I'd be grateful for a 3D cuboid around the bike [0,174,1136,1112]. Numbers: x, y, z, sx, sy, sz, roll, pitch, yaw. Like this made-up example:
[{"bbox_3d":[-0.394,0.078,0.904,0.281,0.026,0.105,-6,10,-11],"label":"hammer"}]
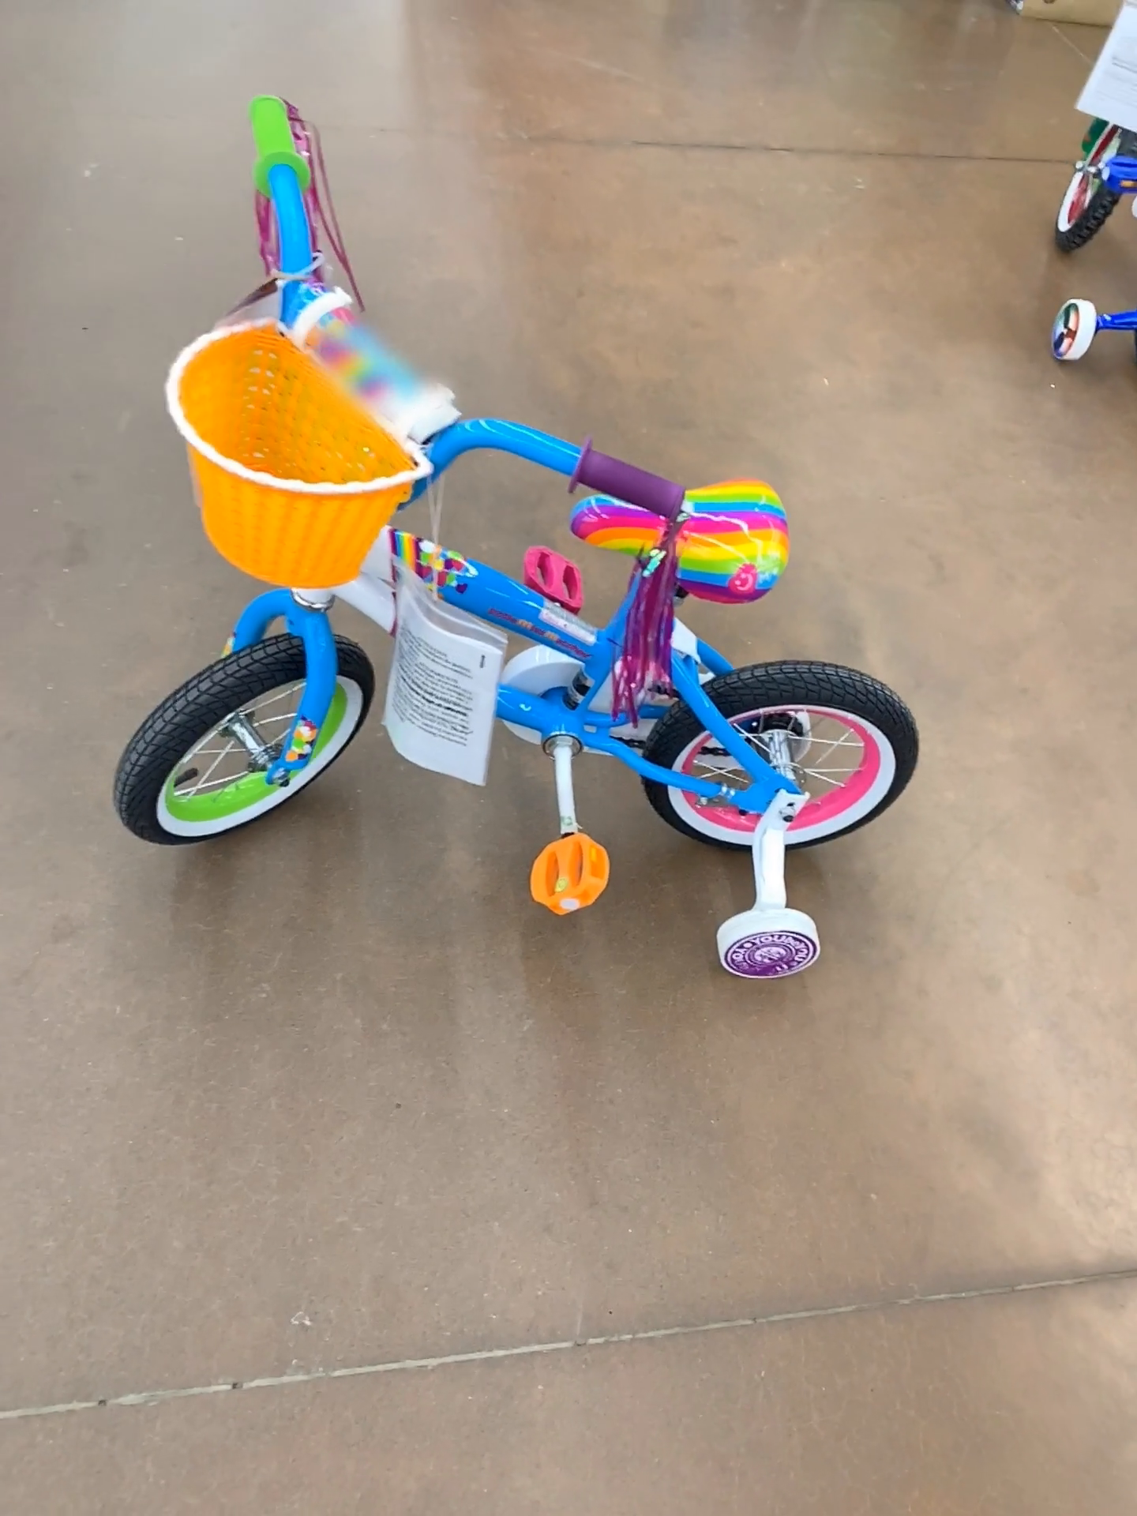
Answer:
[{"bbox_3d":[-0.016,-0.096,1.091,0.833,0.666,0.523,-1,49,-6],"label":"bike"}]
